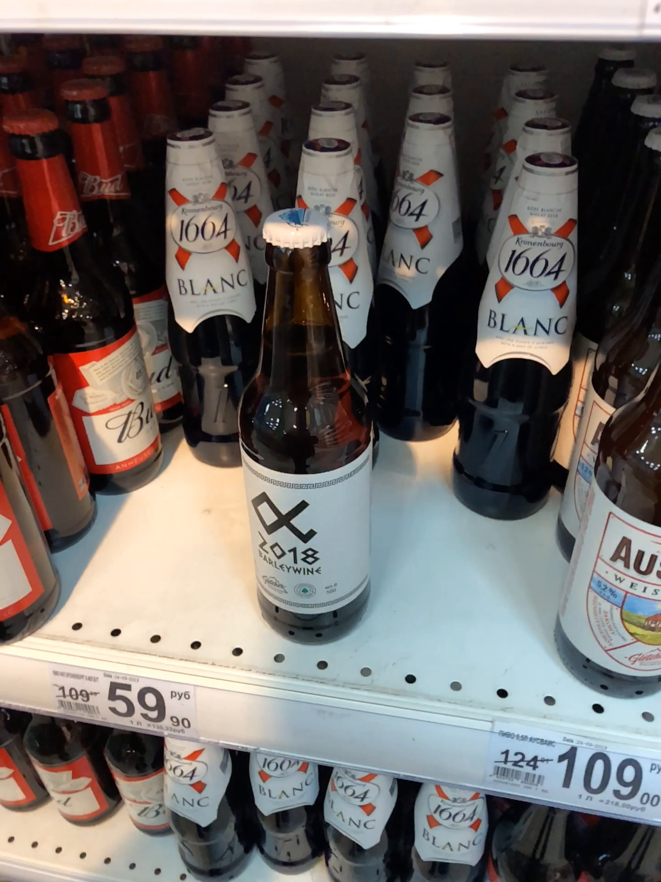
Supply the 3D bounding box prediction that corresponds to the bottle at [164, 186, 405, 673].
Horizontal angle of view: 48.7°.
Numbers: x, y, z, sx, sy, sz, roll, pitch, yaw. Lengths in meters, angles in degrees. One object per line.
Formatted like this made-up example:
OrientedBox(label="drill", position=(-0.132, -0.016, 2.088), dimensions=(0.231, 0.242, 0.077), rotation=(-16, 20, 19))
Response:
OrientedBox(label="bottle", position=(-0.012, 0.008, 0.381), dimensions=(0.080, 0.251, 0.070), rotation=(11, 41, 16))
